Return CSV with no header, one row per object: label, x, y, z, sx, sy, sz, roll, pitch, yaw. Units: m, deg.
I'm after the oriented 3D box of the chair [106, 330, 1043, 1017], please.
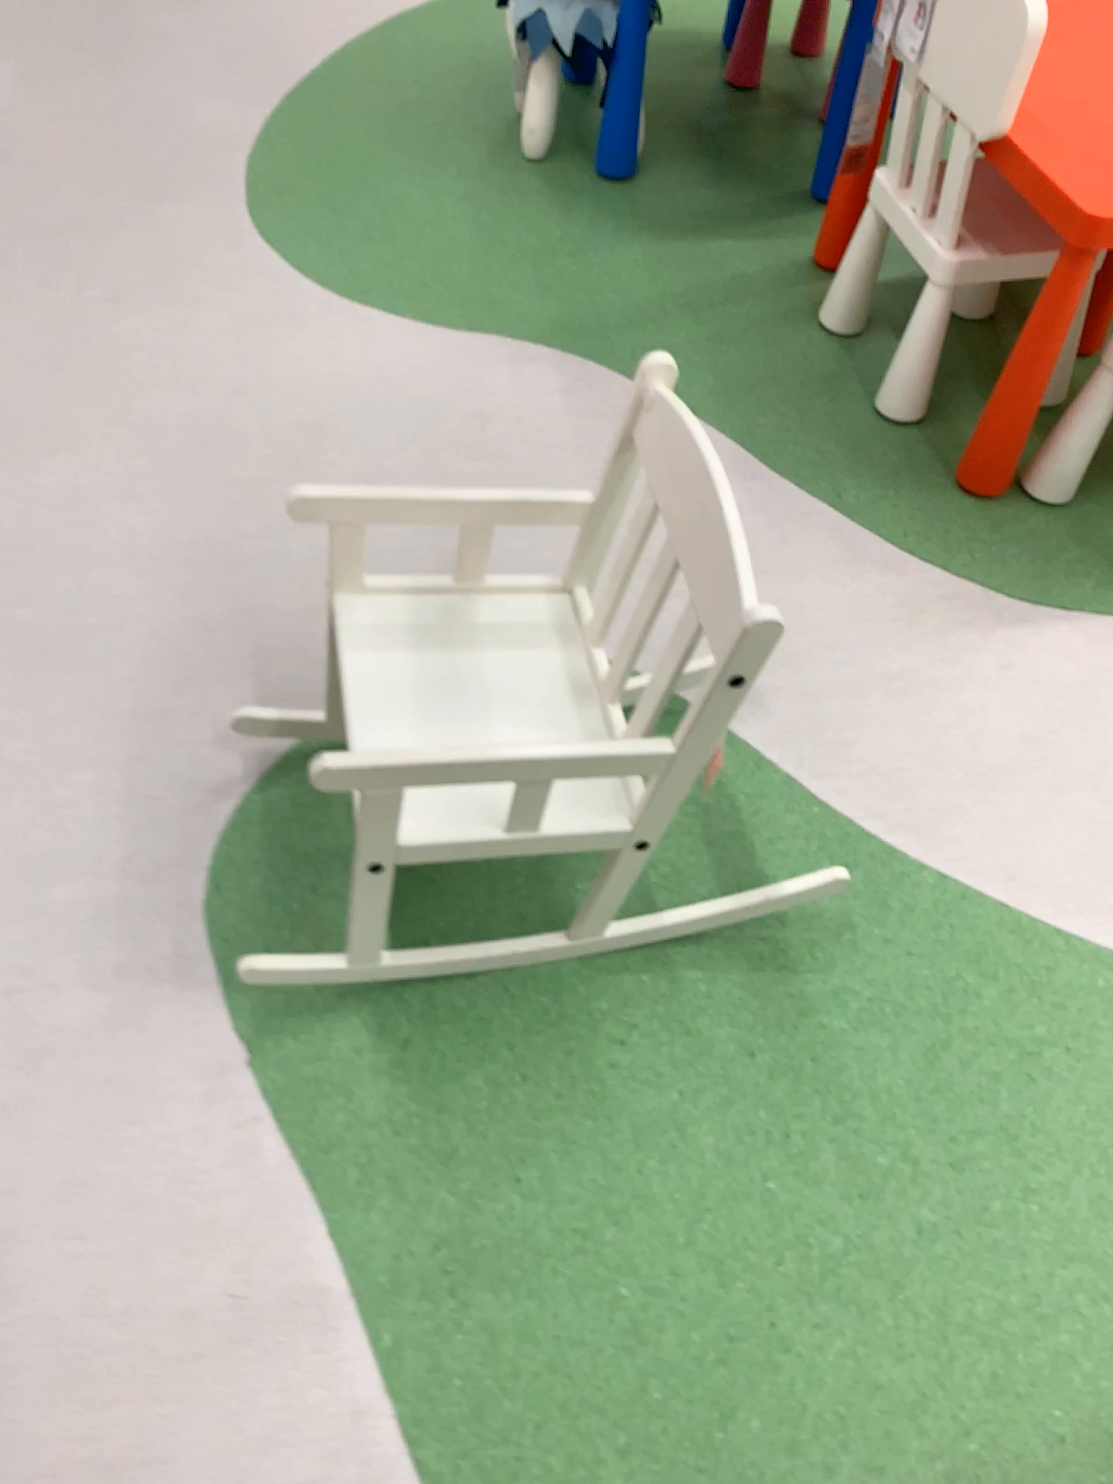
chair,-0.010,-0.065,1.194,0.730,0.499,0.411,-7,53,-8
